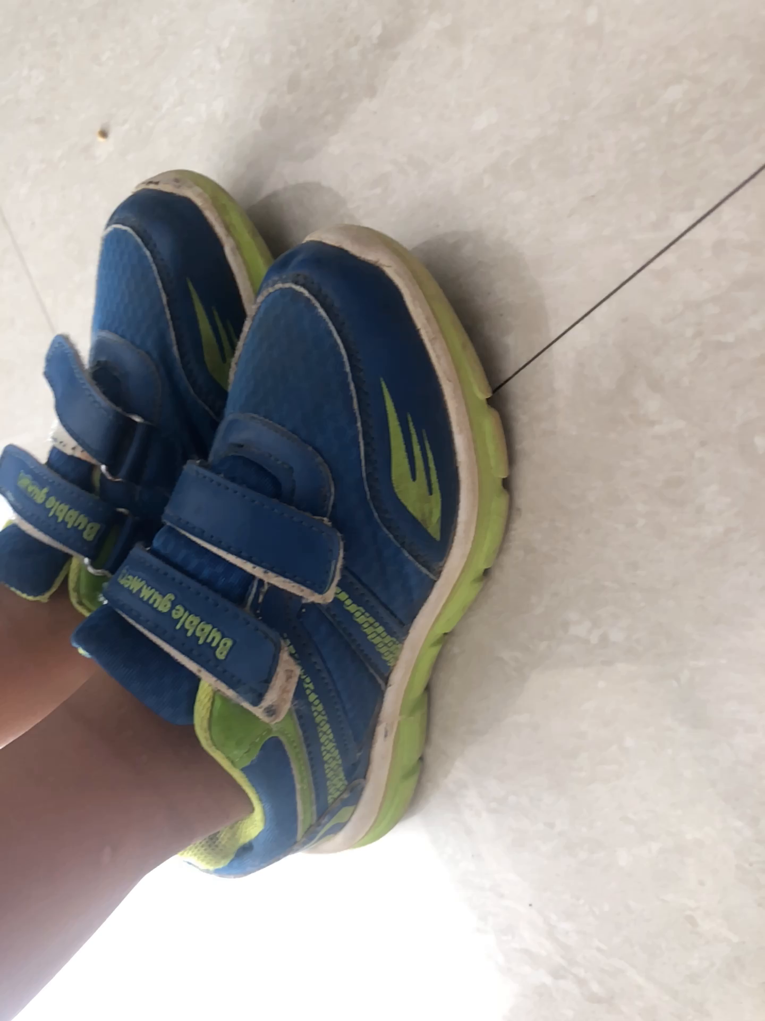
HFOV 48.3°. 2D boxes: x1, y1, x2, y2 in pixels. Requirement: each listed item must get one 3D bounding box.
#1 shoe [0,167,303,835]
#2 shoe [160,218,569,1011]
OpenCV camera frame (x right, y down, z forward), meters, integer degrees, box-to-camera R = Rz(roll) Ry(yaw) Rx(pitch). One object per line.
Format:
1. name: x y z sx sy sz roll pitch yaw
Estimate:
1. shoe: -0.089 -0.005 0.319 0.090 0.060 0.220 23 116 39
2. shoe: -0.017 0.030 0.269 0.090 0.060 0.220 24 117 39
